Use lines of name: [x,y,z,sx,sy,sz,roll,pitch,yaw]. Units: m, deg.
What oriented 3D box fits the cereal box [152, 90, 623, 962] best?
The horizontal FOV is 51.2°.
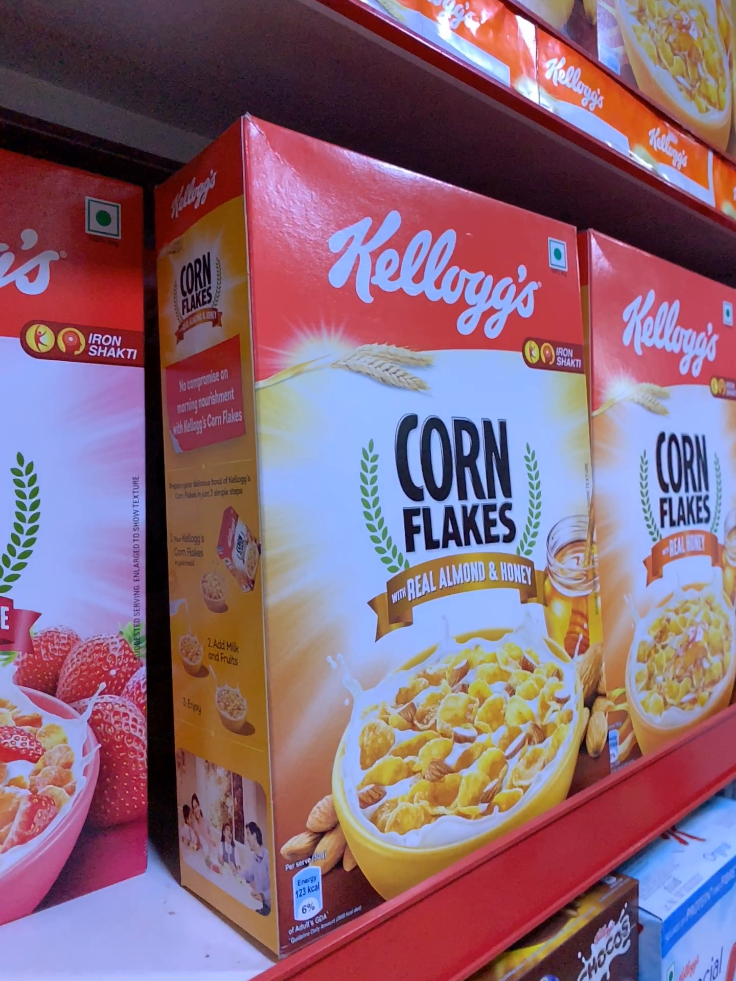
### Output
cereal box: [0.017,0.006,0.281,0.170,0.230,0.060,-2,0,-41]
